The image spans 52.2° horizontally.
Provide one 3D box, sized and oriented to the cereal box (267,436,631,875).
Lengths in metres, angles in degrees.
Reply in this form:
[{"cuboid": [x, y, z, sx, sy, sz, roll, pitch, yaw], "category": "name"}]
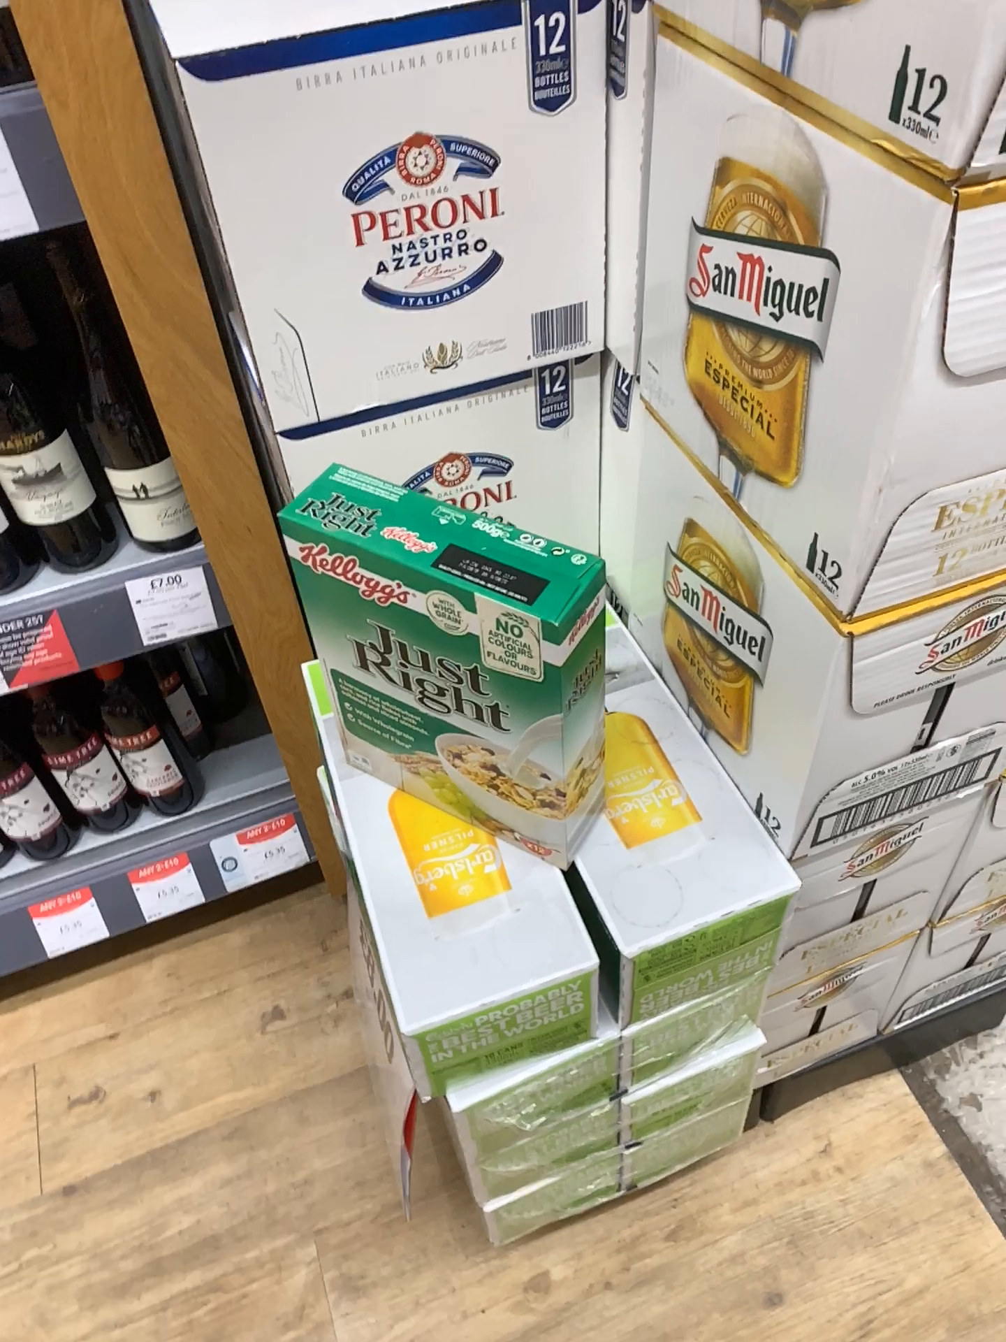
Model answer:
[{"cuboid": [-0.024, -0.003, 0.640, 0.191, 0.238, 0.070, 23, 54, 24], "category": "cereal box"}]
